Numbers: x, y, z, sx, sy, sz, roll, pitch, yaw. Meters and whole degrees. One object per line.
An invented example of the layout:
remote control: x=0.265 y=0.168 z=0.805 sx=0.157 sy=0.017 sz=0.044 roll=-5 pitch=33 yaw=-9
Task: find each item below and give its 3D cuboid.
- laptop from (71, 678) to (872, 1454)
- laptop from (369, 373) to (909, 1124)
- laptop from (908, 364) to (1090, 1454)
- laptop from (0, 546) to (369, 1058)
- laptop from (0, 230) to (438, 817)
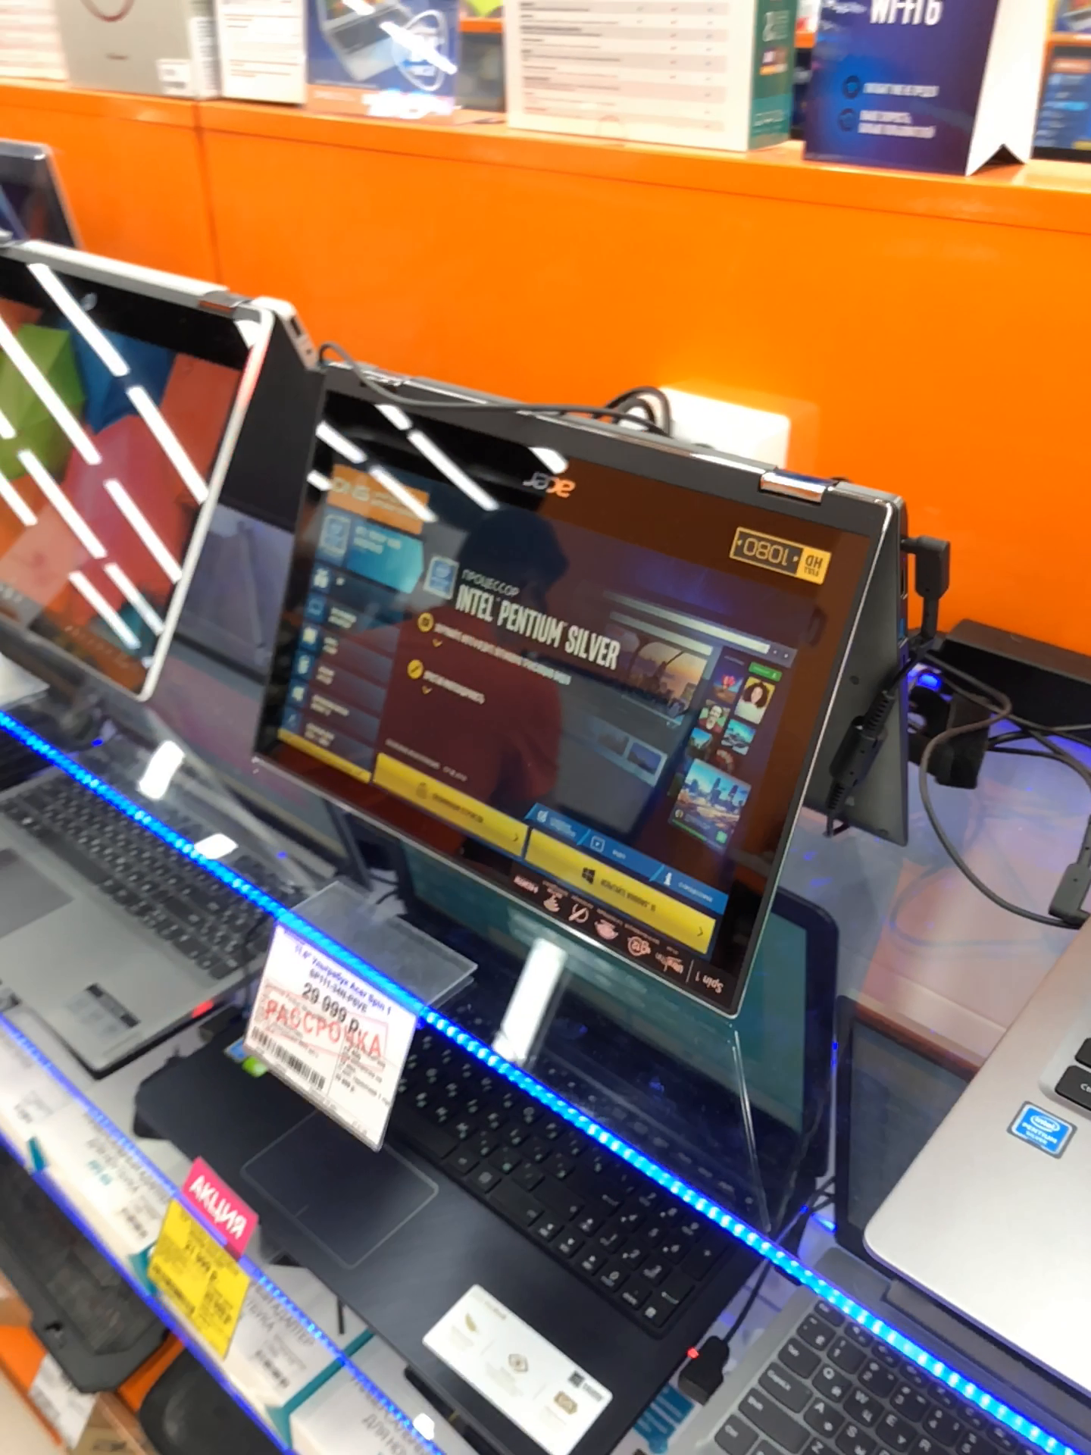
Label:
laptop: x=-0.048 y=0.165 z=0.706 sx=0.361 sy=0.222 sz=0.239 roll=25 pitch=37 yaw=34
laptop: x=0.040 y=0.021 z=0.615 sx=0.278 sy=0.142 sz=0.181 roll=25 pitch=0 yaw=37
laptop: x=0.331 y=0.073 z=0.310 sx=0.351 sy=0.209 sz=0.273 roll=23 pitch=38 yaw=31
laptop: x=-0.358 y=0.034 z=0.935 sx=0.364 sy=0.202 sz=0.223 roll=24 pitch=41 yaw=35
laptop: x=-0.225 y=-0.132 z=0.842 sx=0.300 sy=0.149 sz=0.182 roll=24 pitch=2 yaw=33
